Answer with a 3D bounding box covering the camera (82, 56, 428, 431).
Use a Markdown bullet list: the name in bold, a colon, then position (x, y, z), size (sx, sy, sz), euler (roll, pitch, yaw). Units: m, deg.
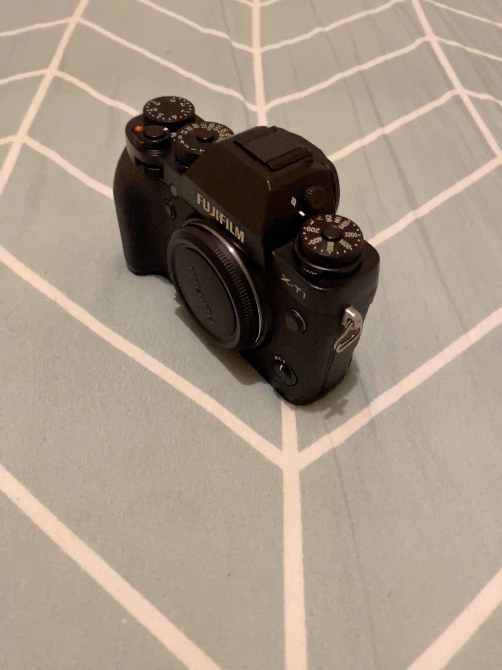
- **camera**: position (-0.007, -0.041, 0.218), size (0.052, 0.087, 0.130), euler (-32, 59, -25)
